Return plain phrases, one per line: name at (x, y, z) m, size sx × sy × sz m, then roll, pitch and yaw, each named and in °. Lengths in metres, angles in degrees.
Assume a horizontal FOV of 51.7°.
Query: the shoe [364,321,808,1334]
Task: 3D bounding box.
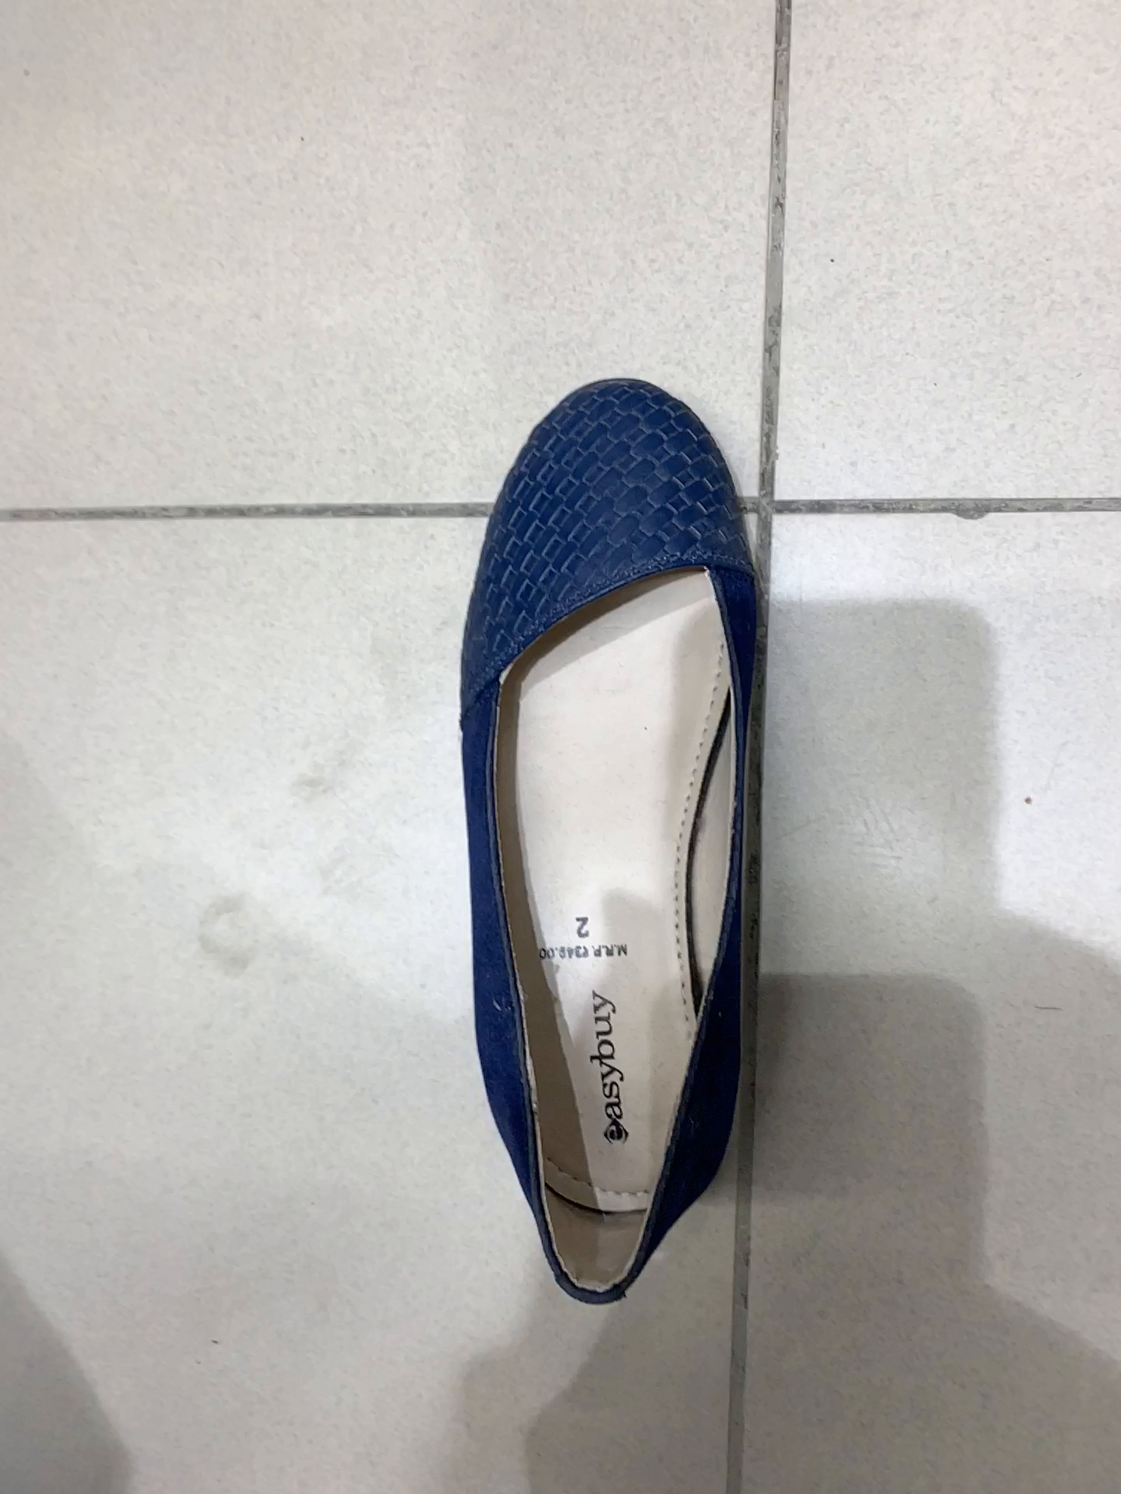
shoe at (0.009, 0.019, 0.291) m, size 0.090 × 0.060 × 0.220 m, roll -3°, pitch 88°, yaw 13°
